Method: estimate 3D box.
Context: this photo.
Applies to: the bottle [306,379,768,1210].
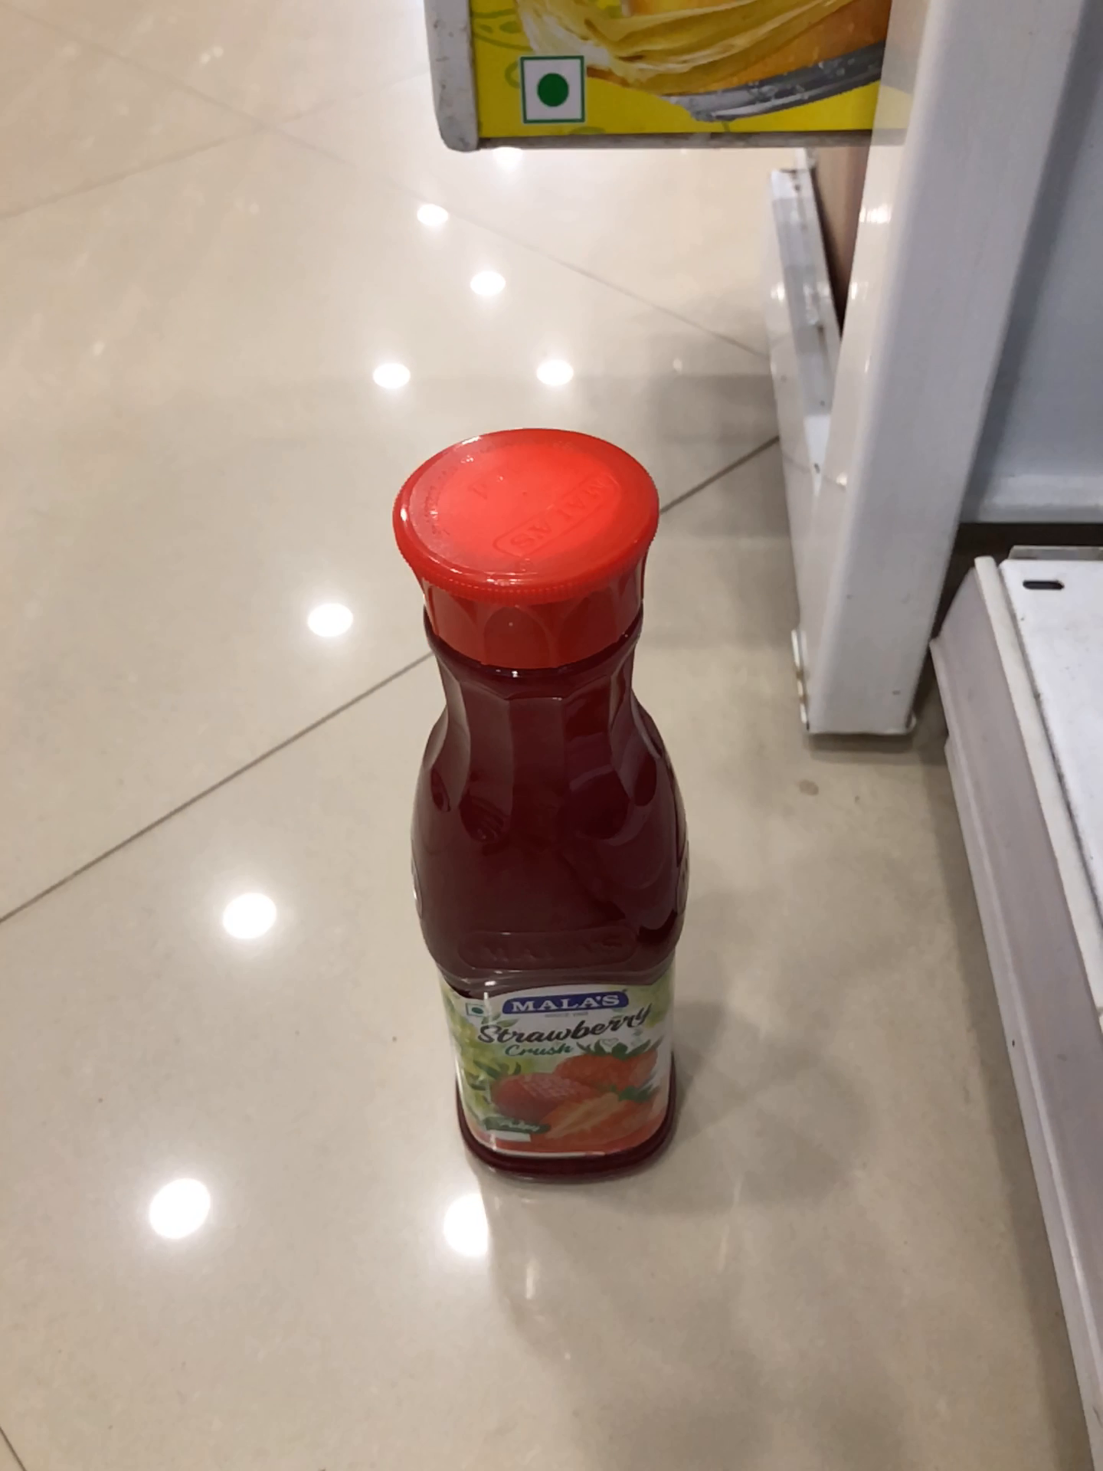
[{"bbox_3d":[0.001,0.038,0.326,0.080,0.249,0.070,-3,46,0],"label":"bottle"}]
